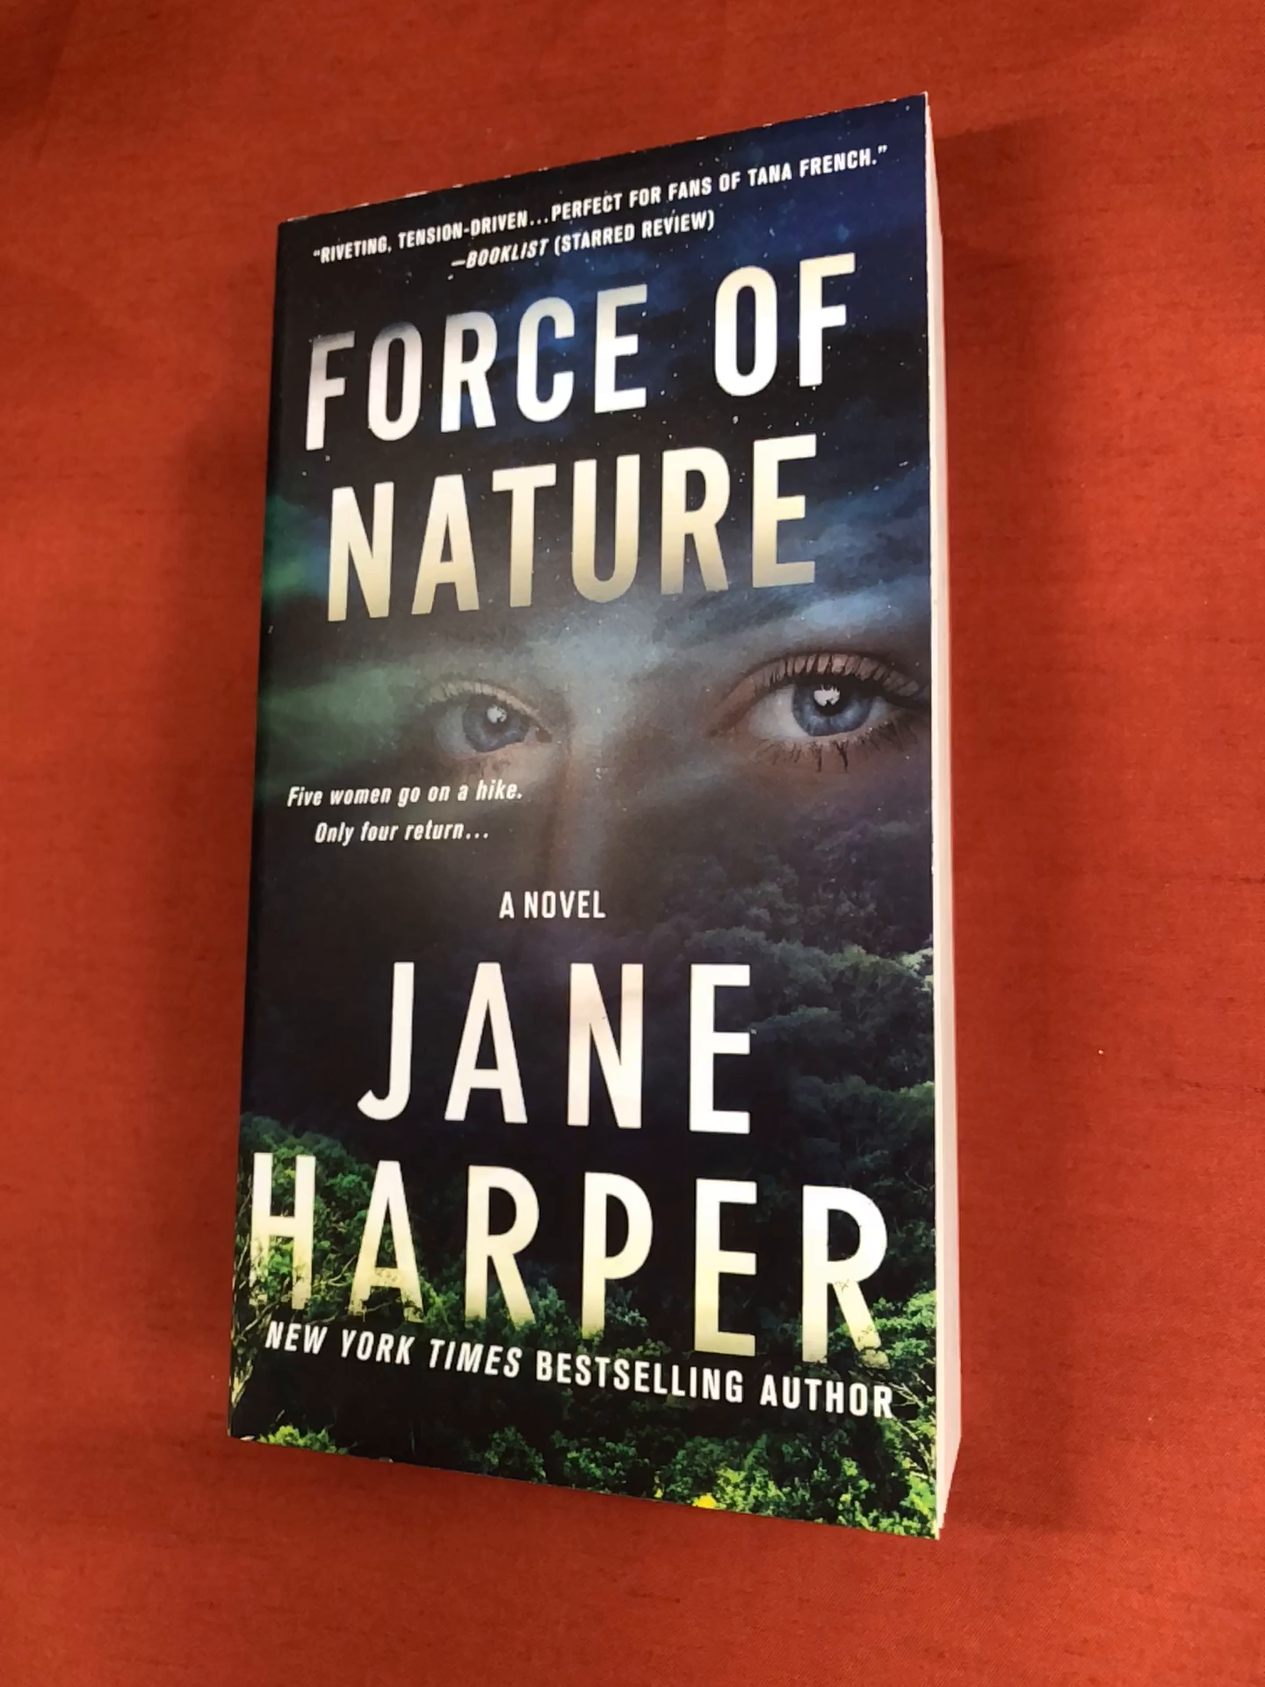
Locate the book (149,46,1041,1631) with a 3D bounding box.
[{"bbox_3d":[-0.004,0.001,0.202,0.110,0.050,0.180,-2,89,19],"label":"book"}]
